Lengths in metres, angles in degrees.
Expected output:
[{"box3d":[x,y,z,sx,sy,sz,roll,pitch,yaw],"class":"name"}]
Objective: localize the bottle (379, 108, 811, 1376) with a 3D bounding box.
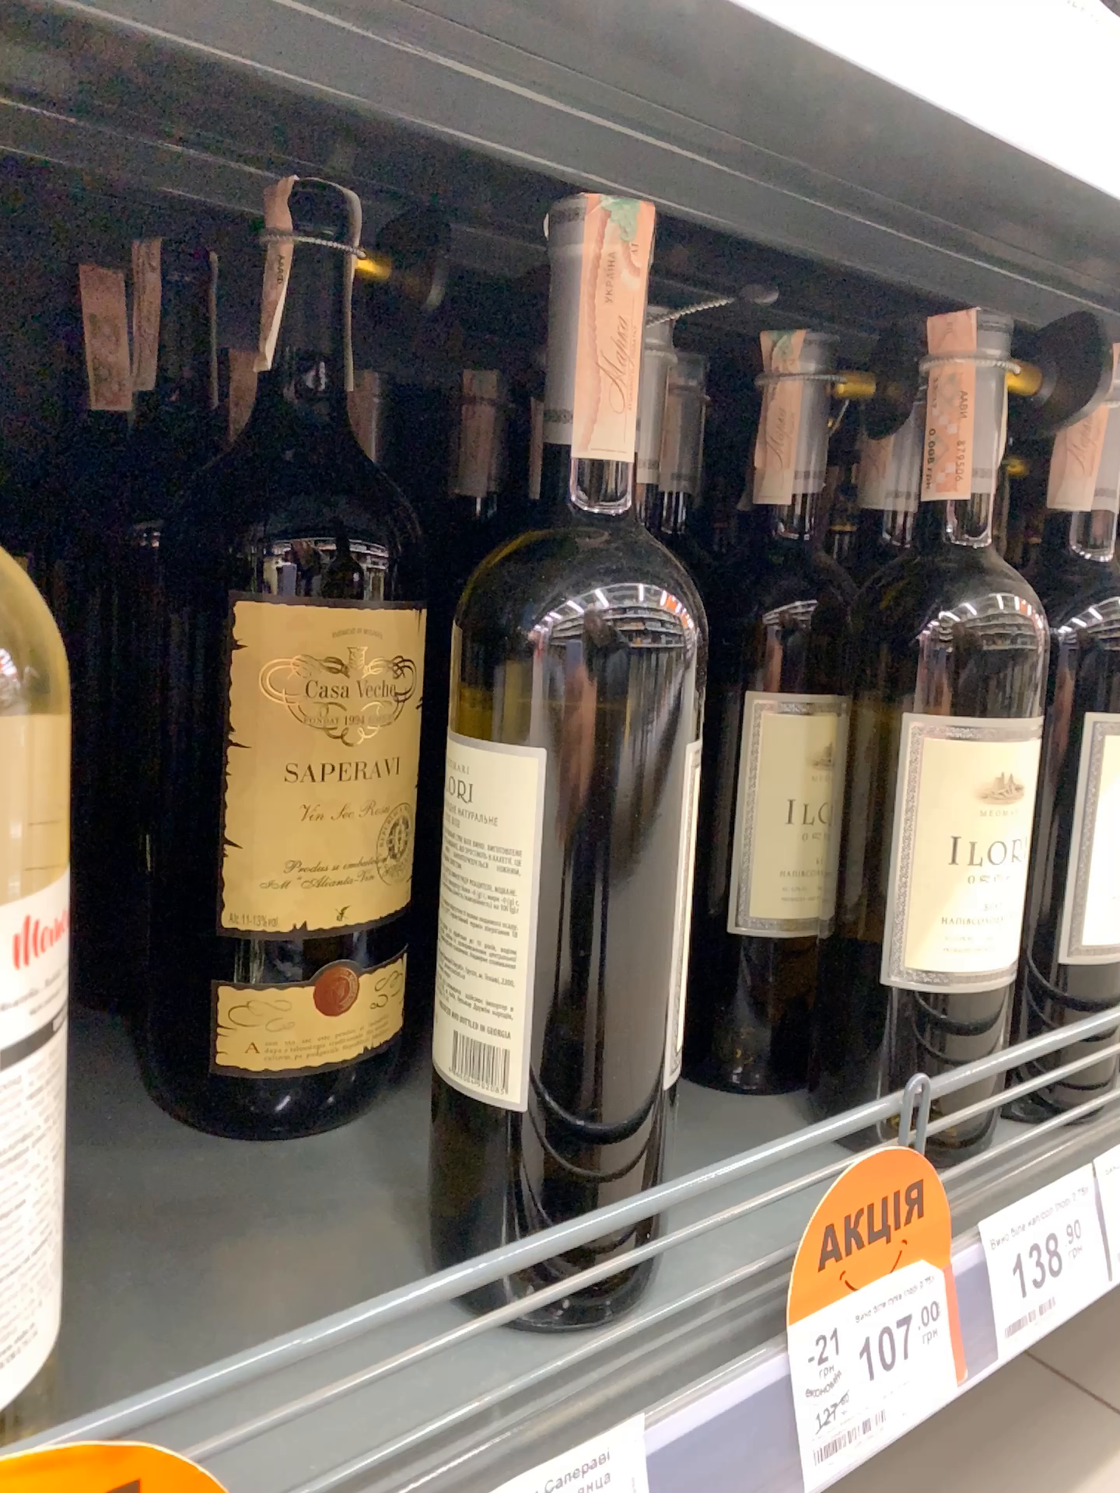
[{"box3d":[0.004,0.005,0.335,0.069,0.319,0.070,5,9,-1],"class":"bottle"}]
